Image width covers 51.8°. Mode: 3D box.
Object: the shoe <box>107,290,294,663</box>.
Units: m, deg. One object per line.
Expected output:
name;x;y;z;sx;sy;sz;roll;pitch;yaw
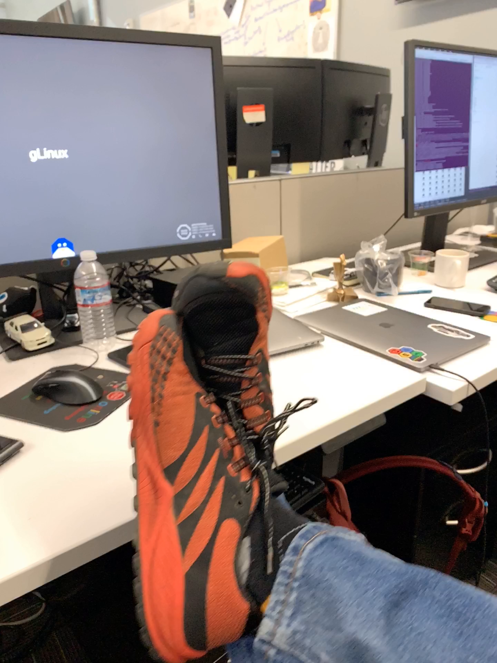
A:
shoe;-0.043;0.119;0.442;0.132;0.290;0.091;-3;-14;-1

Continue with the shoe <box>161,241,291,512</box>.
shoe;-0.020;0.052;0.549;0.107;0.271;0.083;-6;24;-5
